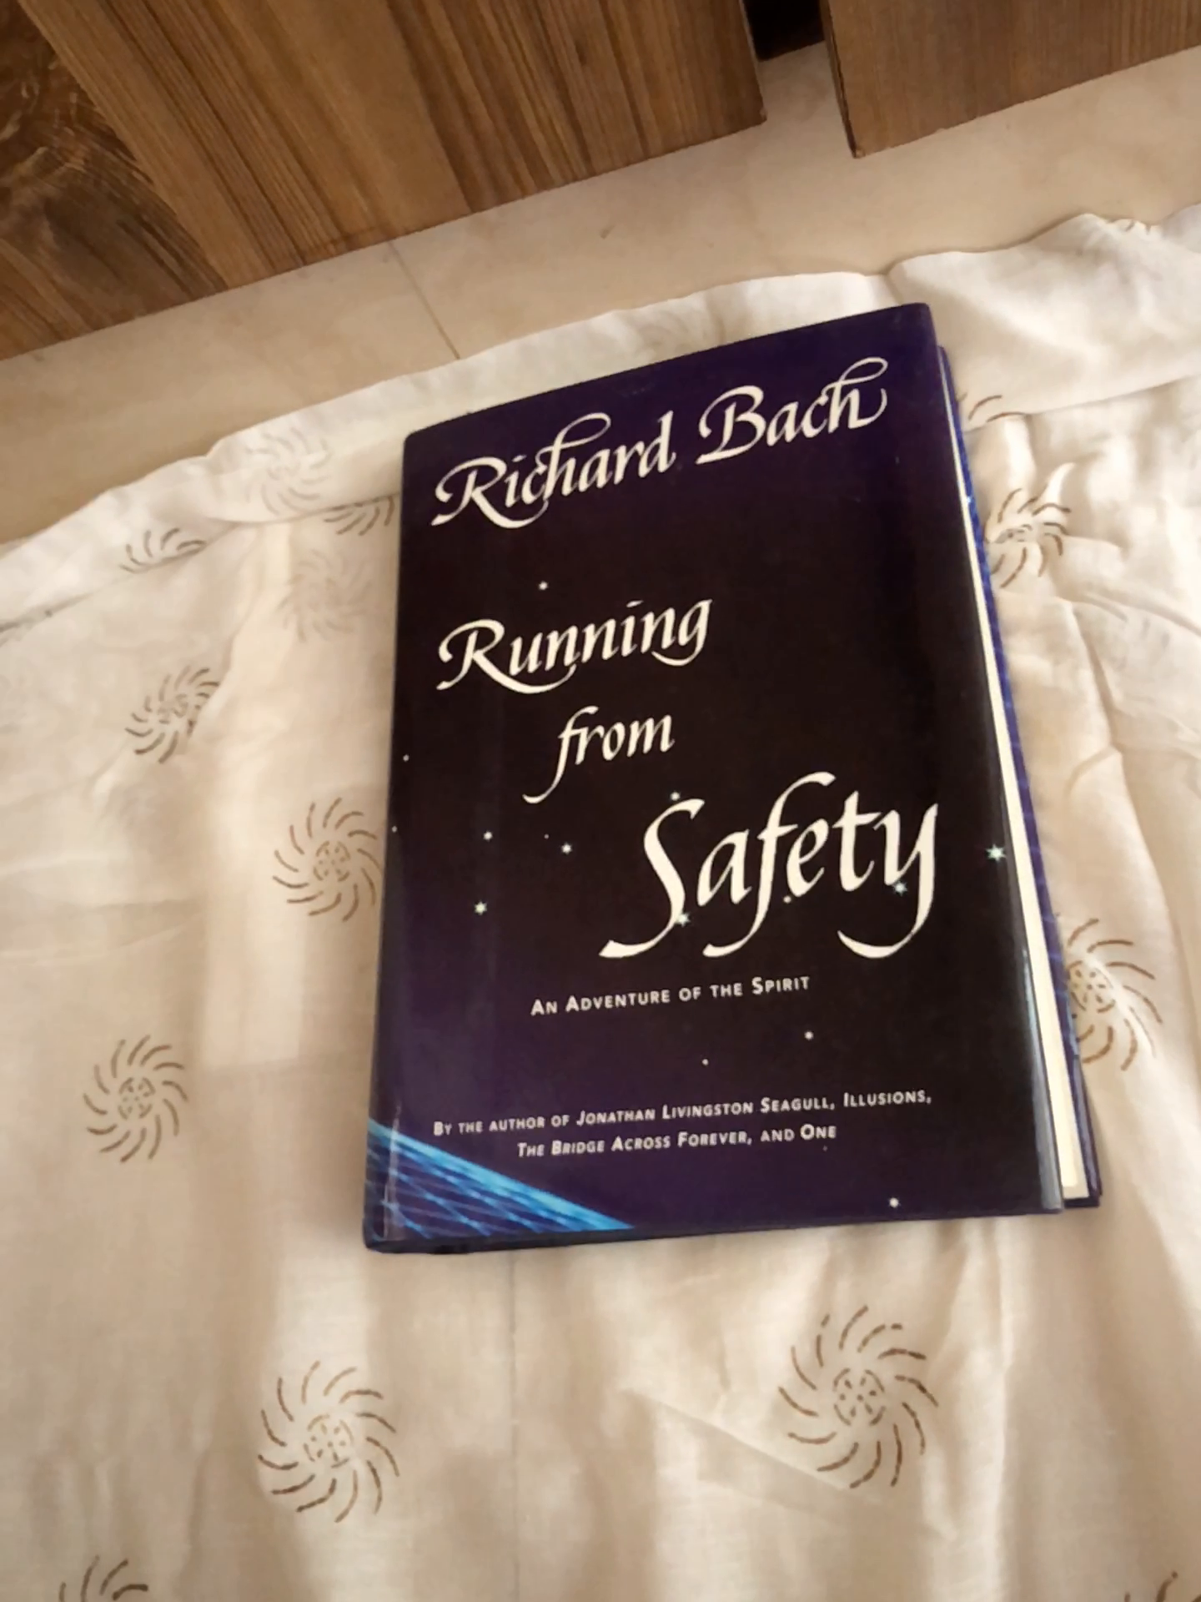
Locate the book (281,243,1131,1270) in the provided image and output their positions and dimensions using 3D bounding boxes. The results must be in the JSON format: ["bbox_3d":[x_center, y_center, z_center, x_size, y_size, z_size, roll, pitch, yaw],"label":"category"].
[{"bbox_3d":[0.018,-0.020,0.339,0.170,0.040,0.250,-7,63,11],"label":"book"}]
